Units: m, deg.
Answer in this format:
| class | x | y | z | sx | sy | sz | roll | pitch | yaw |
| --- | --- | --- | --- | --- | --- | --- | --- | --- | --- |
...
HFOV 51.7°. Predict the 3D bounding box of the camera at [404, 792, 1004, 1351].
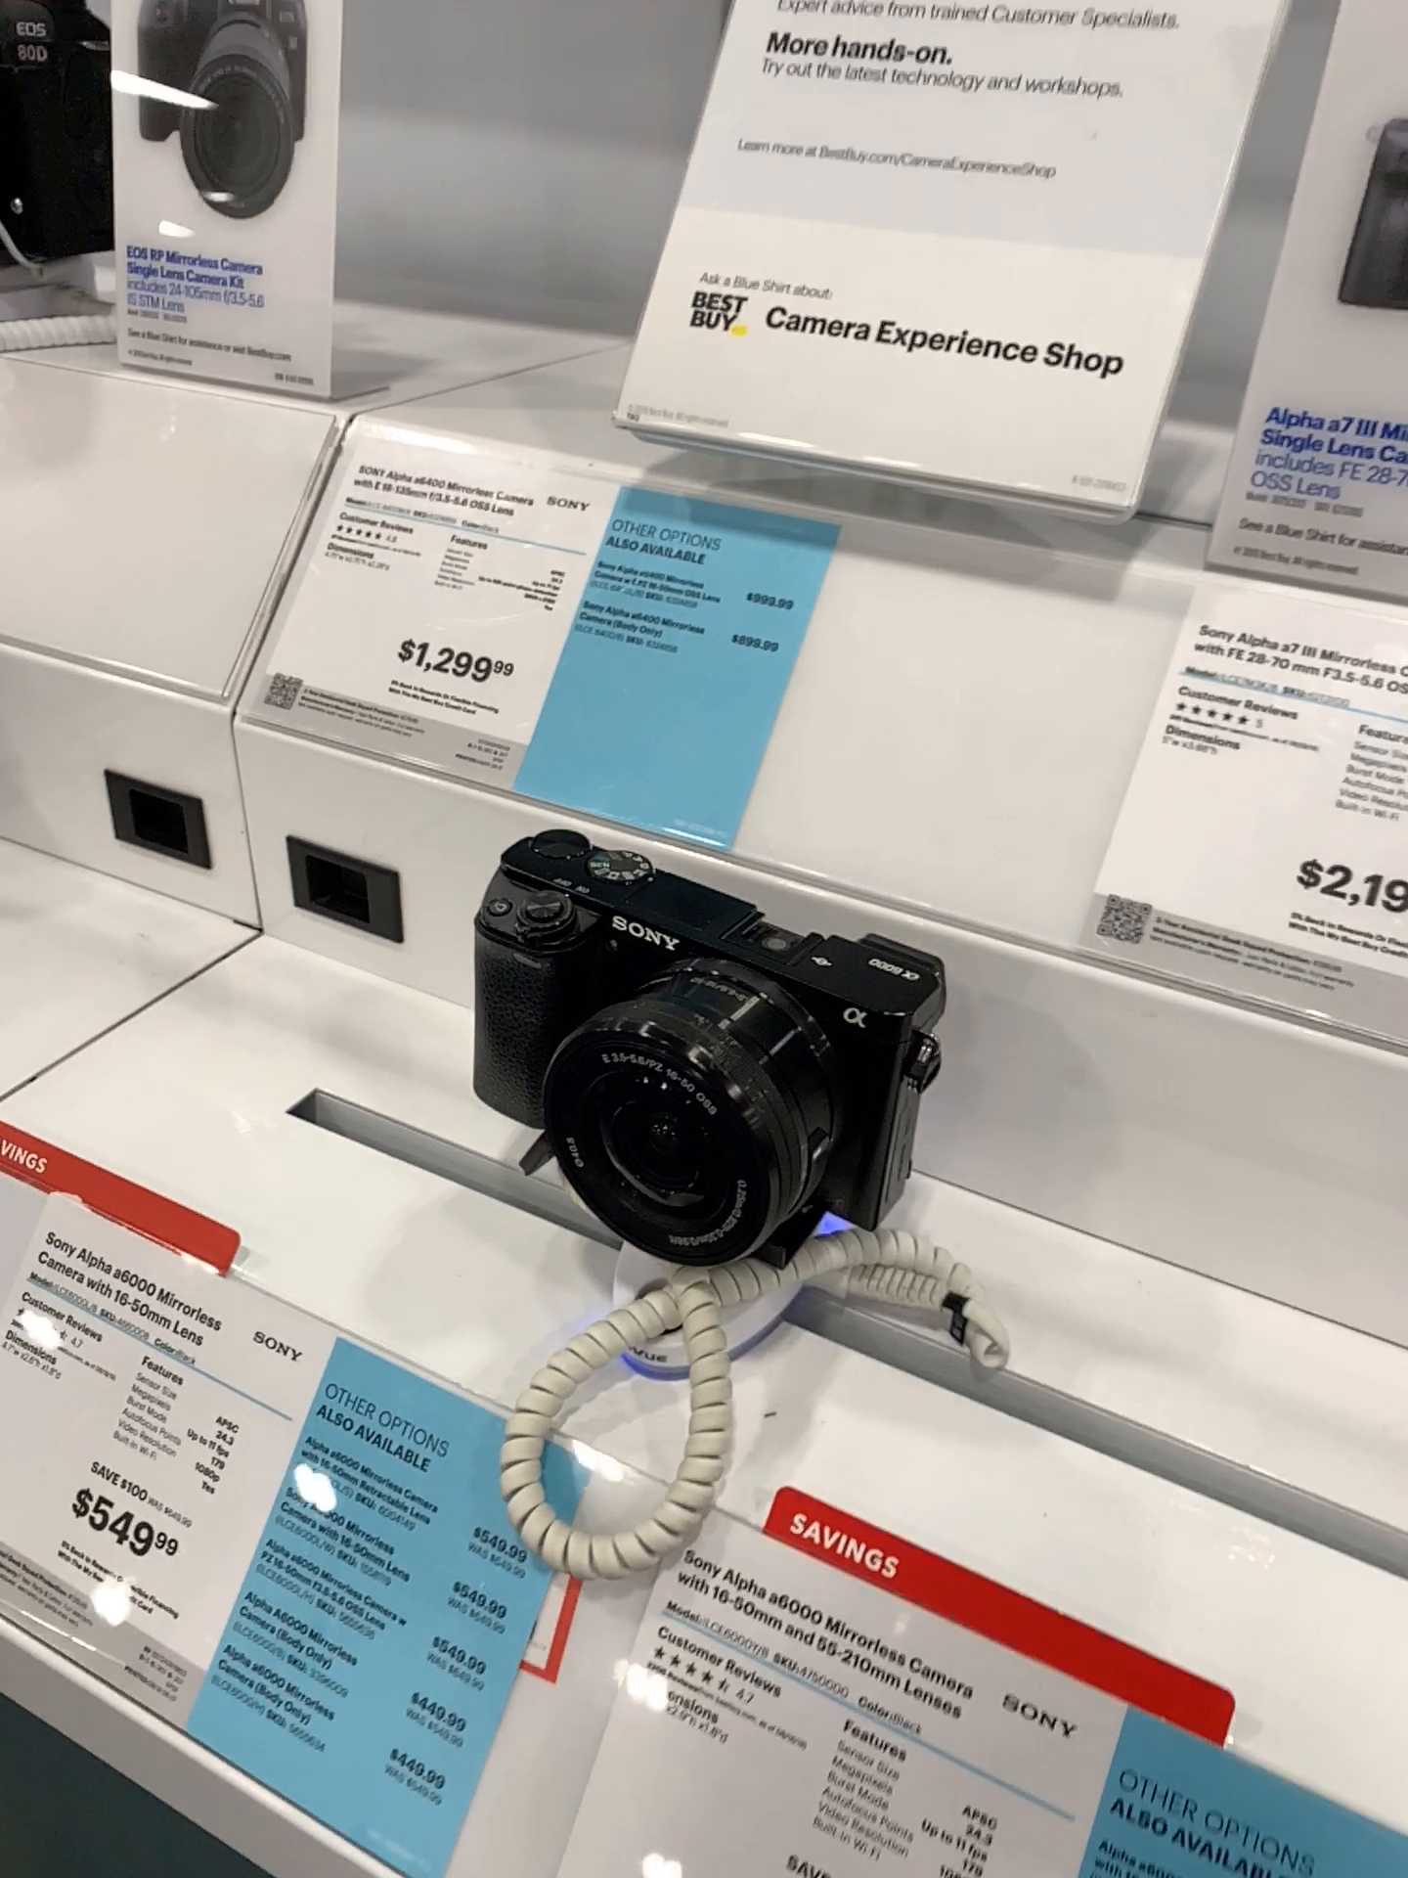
| class | x | y | z | sx | sy | sz | roll | pitch | yaw |
| --- | --- | --- | --- | --- | --- | --- | --- | --- | --- |
| camera | -0.003 | 0.027 | 0.363 | 0.130 | 0.080 | 0.060 | 20 | 34 | 26 |
